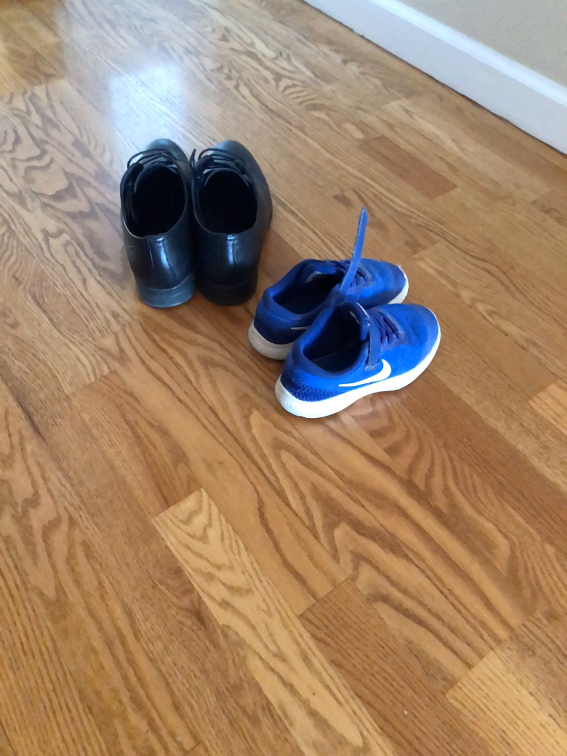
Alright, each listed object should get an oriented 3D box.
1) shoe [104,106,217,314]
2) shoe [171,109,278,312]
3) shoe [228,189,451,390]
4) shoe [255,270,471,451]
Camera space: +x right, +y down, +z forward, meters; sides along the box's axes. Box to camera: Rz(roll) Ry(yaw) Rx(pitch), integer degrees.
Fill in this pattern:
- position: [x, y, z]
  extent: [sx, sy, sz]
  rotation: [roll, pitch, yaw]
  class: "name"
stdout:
- position: [-0.159, -0.235, 0.827]
  extent: [0.120, 0.090, 0.321]
  rotation: [-4, 52, -6]
  class: "shoe"
- position: [-0.076, -0.235, 0.836]
  extent: [0.120, 0.090, 0.321]
  rotation: [-1, 51, -3]
  class: "shoe"
- position: [0.062, -0.107, 0.732]
  extent: [0.230, 0.129, 0.100]
  rotation: [-26, 57, -21]
  class: "shoe"
- position: [0.088, -0.025, 0.696]
  extent: [0.220, 0.070, 0.100]
  rotation: [-28, 58, -23]
  class: "shoe"
